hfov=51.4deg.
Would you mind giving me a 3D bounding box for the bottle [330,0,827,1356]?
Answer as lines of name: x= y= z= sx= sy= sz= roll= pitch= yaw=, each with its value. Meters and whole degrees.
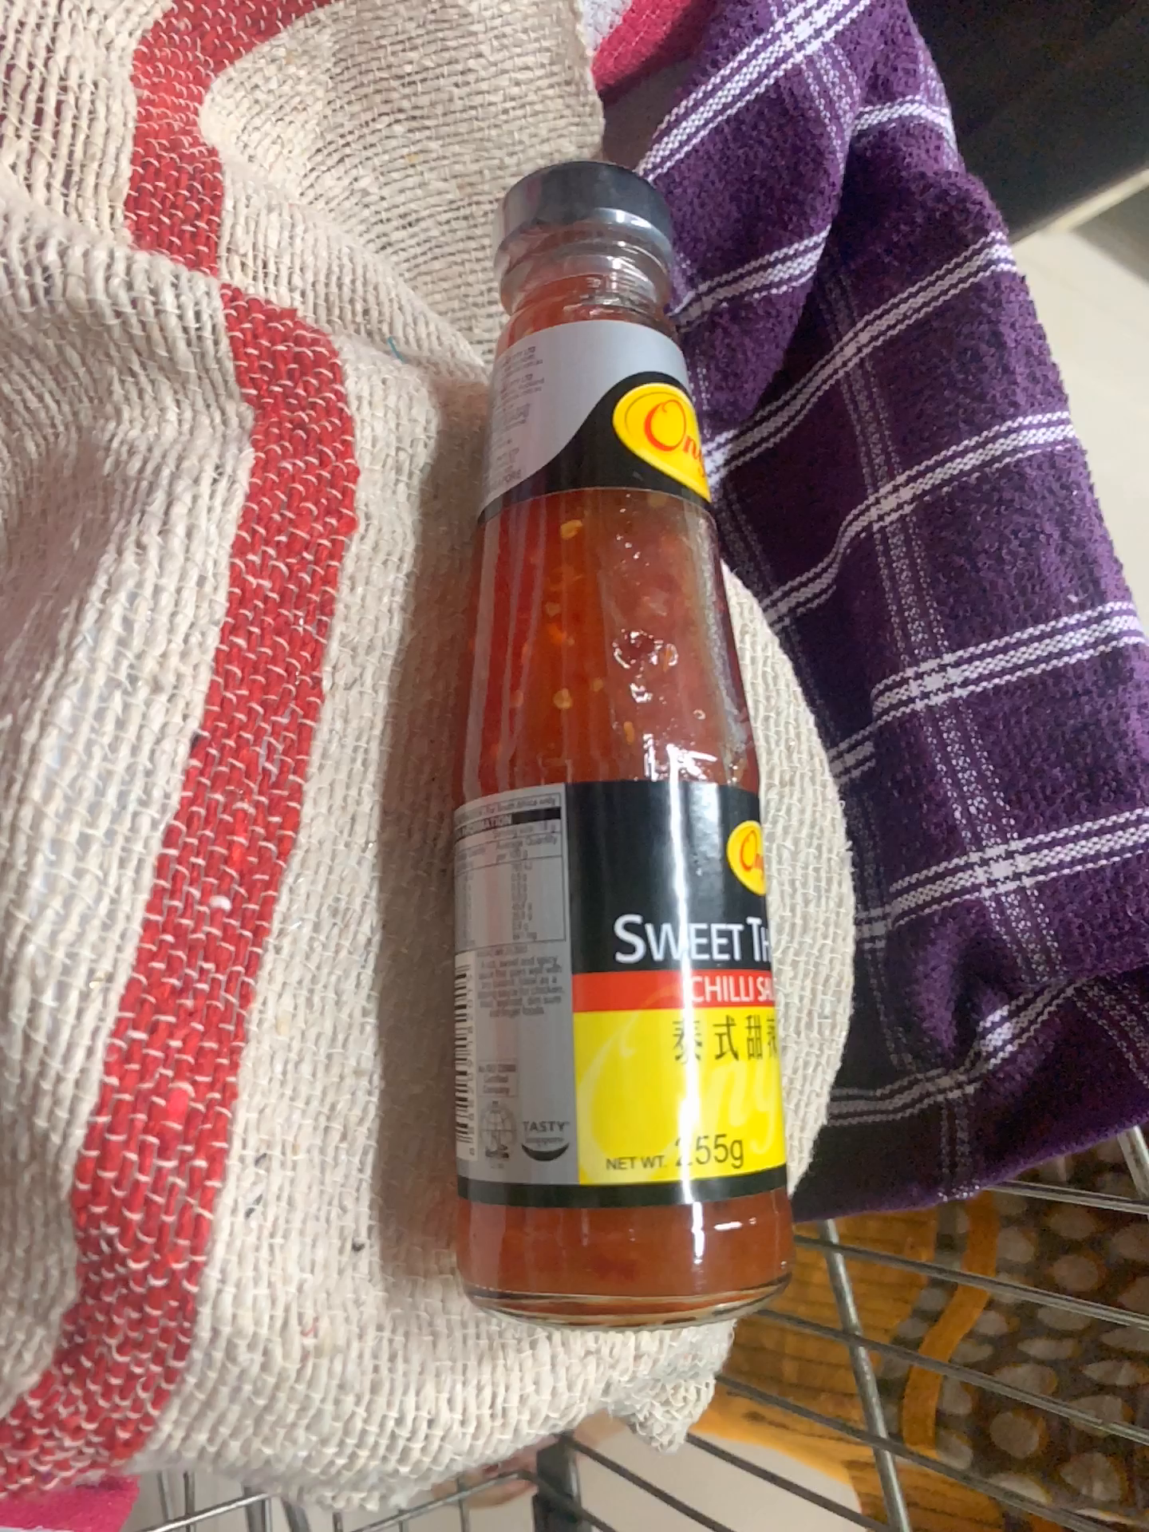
bottle: x=0.005 y=-0.016 z=0.196 sx=0.060 sy=0.050 sz=0.190 roll=21 pitch=66 yaw=-58
